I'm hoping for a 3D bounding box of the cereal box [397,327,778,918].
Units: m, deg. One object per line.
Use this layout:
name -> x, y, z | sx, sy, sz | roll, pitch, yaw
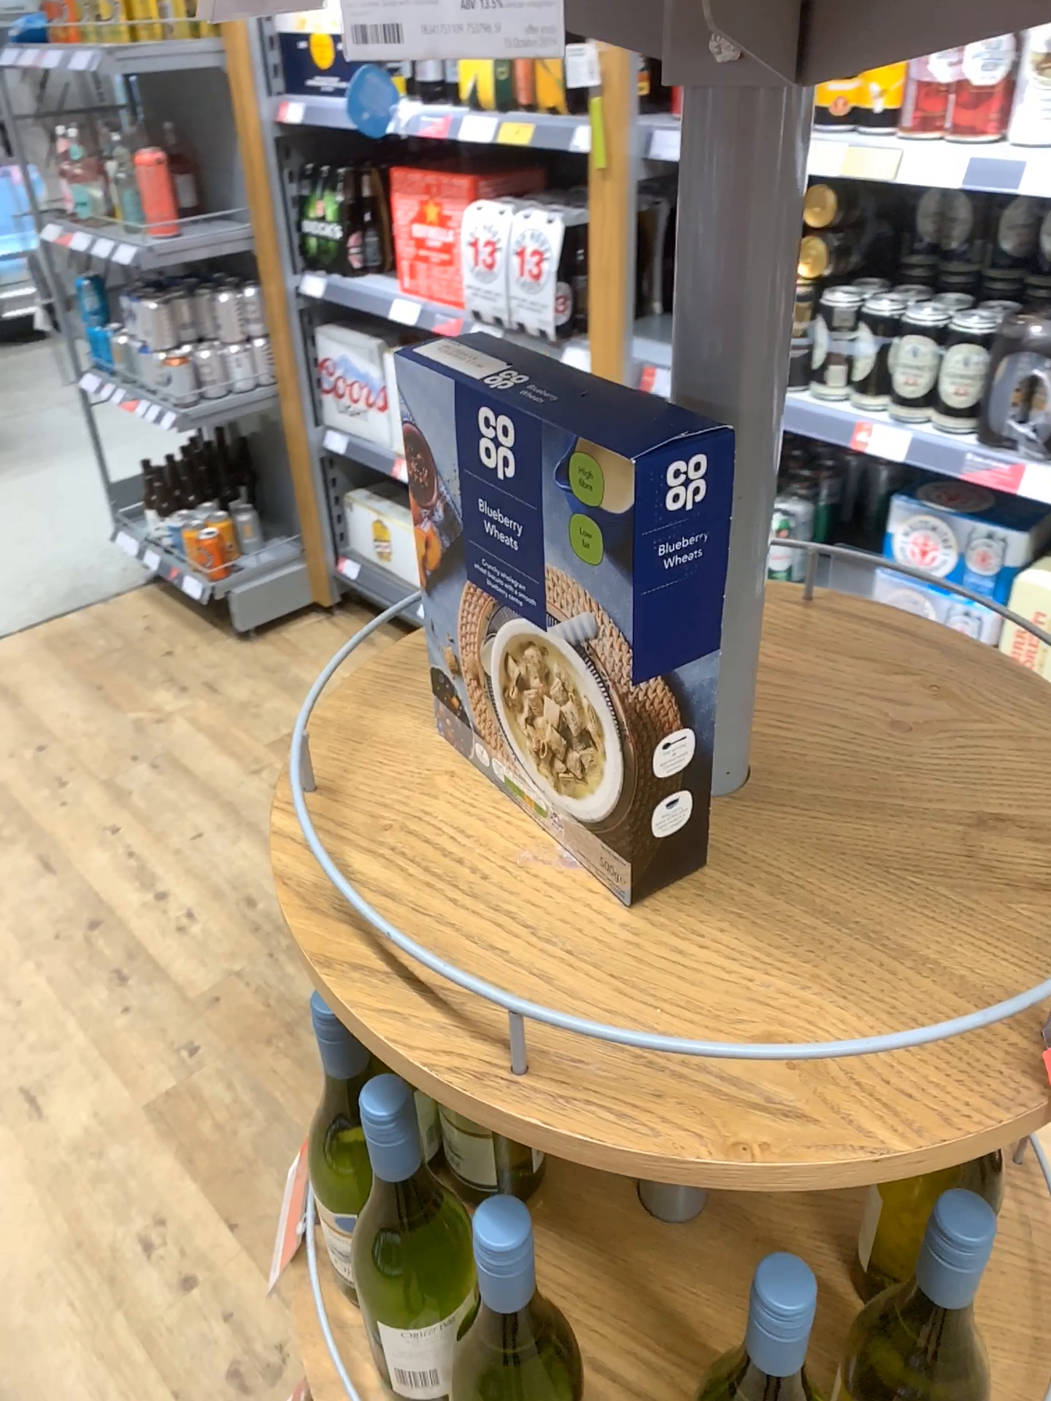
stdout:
cereal box -> 0.021, -0.045, 0.541 | 0.060, 0.228, 0.201 | -22, 38, -28
